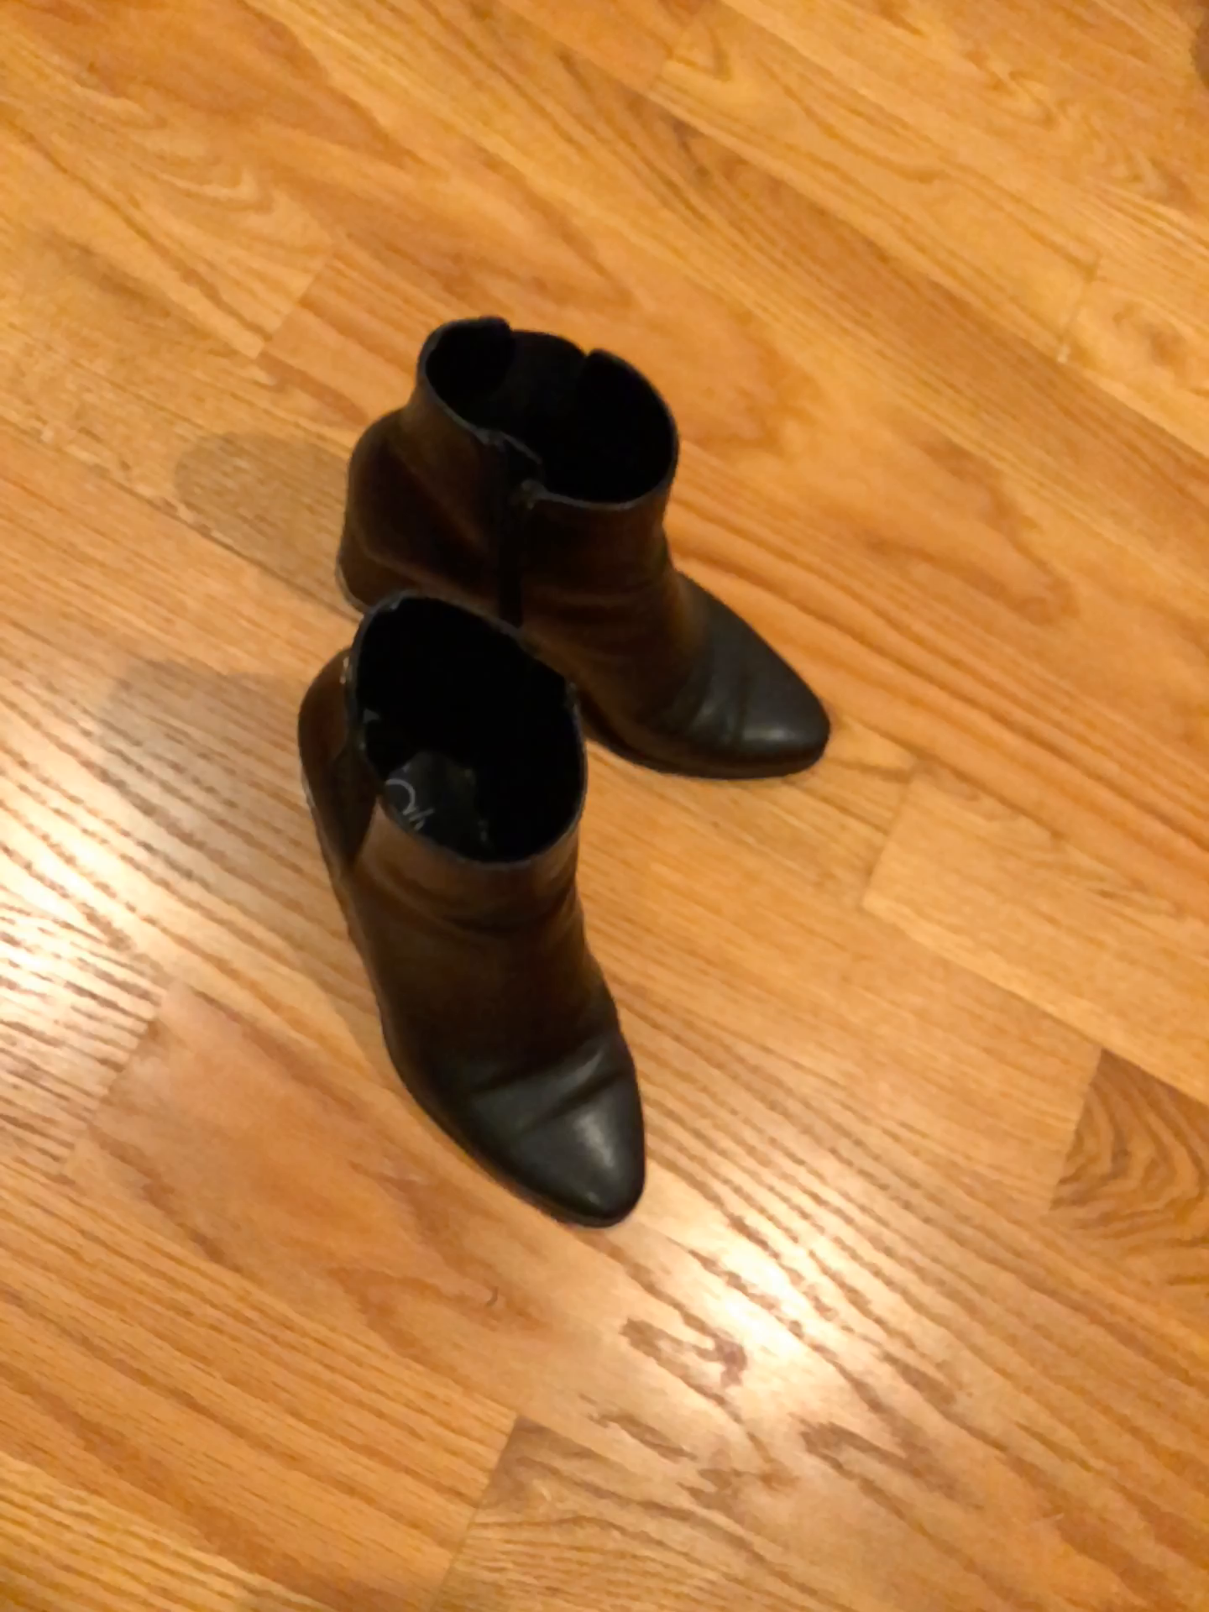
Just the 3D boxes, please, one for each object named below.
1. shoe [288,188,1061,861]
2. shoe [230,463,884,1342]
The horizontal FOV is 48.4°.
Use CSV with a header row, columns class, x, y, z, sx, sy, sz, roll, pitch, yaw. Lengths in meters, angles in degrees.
class,x,y,z,sx,sy,sz,roll,pitch,yaw
shoe,0.013,-0.087,0.515,0.236,0.176,0.095,24,70,-8
shoe,-0.036,0.040,0.464,0.095,0.176,0.236,-24,82,-20
